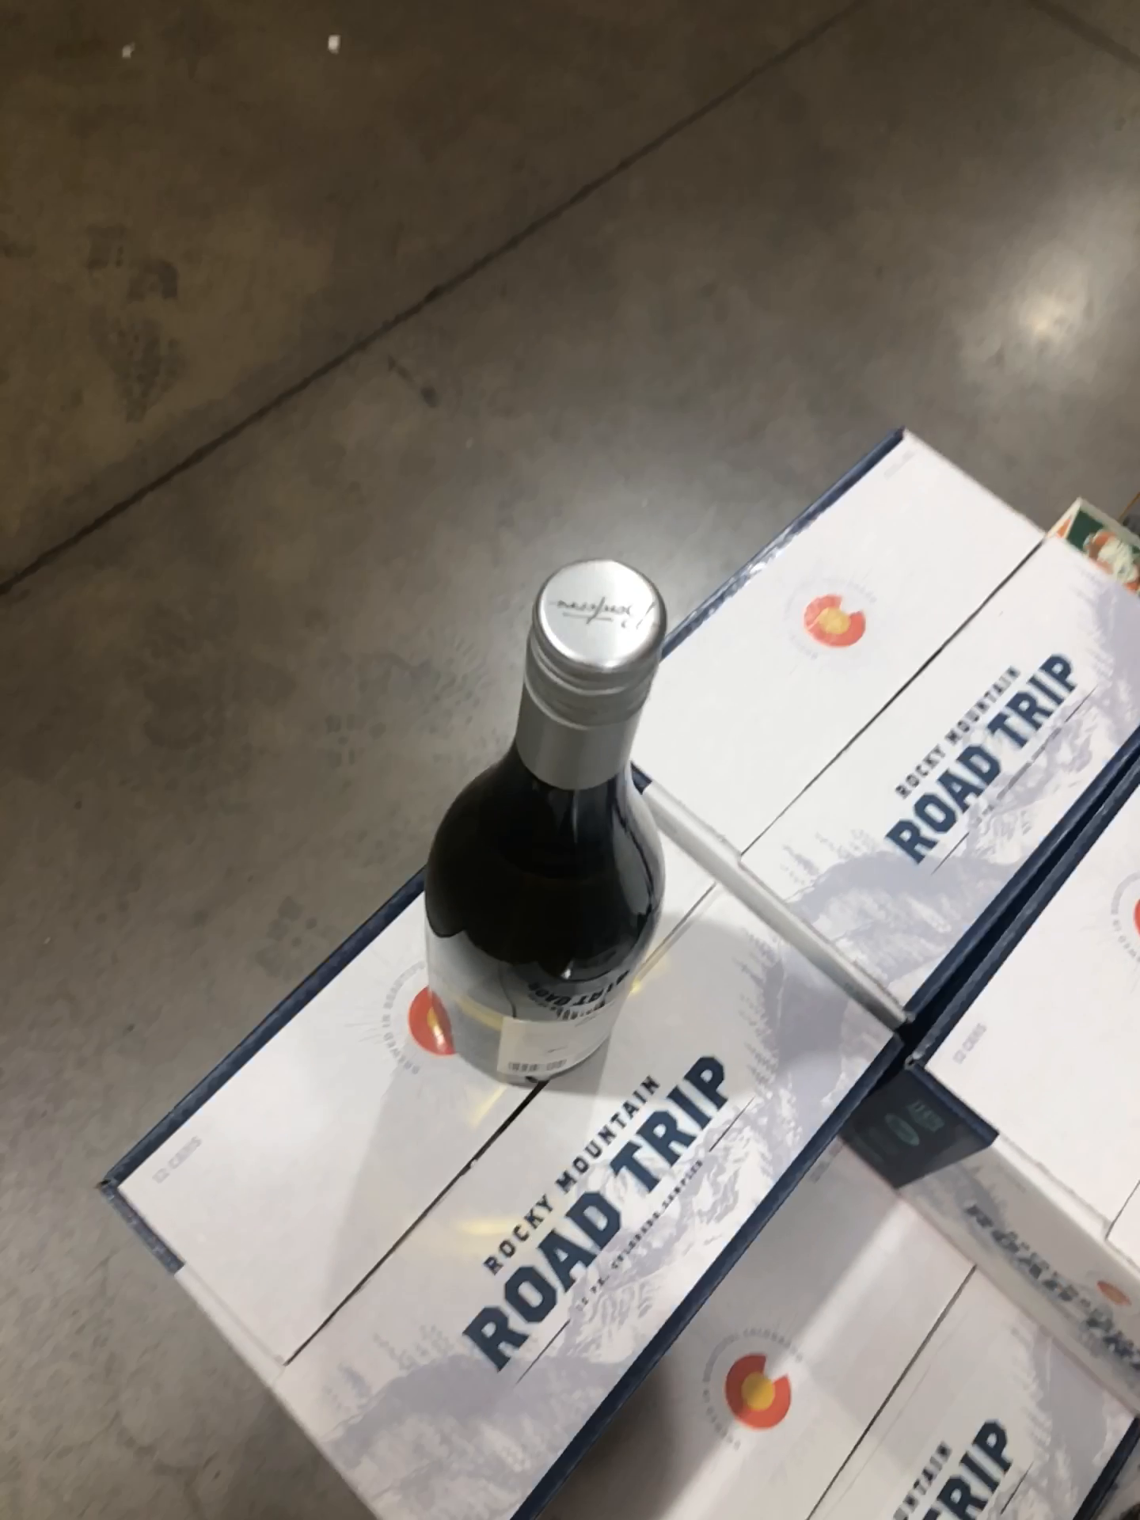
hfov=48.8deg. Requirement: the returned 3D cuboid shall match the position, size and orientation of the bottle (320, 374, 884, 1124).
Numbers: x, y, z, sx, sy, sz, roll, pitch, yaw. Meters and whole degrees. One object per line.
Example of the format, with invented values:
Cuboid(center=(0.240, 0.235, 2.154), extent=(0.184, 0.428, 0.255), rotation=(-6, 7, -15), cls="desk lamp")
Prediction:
Cuboid(center=(-0.006, 0.026, 0.397), extent=(0.090, 0.285, 0.083), rotation=(2, 63, -5), cls="bottle")
